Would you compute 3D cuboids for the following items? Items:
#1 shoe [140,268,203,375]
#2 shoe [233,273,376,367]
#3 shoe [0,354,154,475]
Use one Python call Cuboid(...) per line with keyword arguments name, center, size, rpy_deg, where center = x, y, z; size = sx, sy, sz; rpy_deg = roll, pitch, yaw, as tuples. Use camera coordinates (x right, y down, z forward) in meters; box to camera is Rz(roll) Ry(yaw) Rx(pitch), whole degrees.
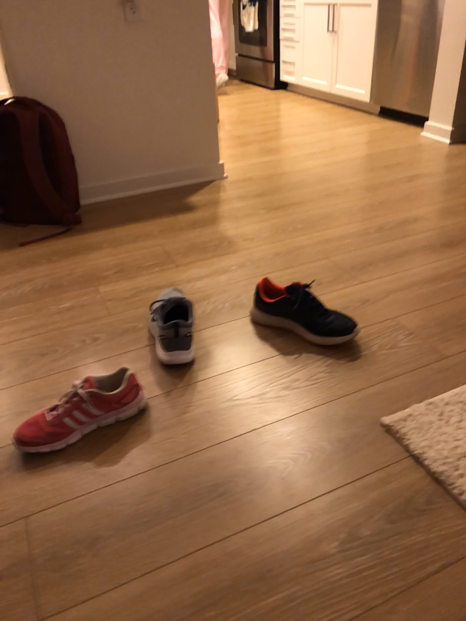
Cuboid(name="shoe", center=(-0.157, 0.015, 1.293), size=(0.130, 0.099, 0.322), rpy_deg=(-6, 32, -4))
Cuboid(name="shoe", center=(0.171, 0.014, 1.266), size=(0.321, 0.099, 0.131), rpy_deg=(18, 38, 31))
Cuboid(name="shoe", center=(-0.320, 0.204, 1.043), size=(0.280, 0.099, 0.121), rpy_deg=(-18, 34, -21))
